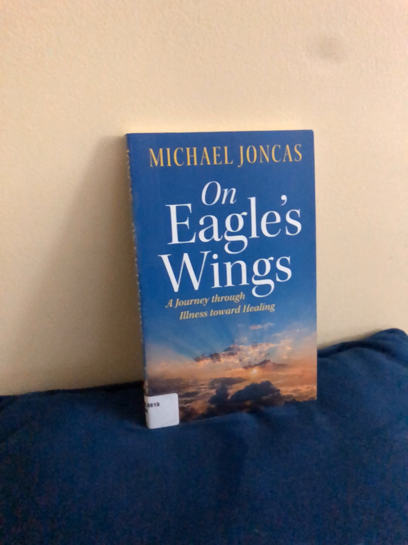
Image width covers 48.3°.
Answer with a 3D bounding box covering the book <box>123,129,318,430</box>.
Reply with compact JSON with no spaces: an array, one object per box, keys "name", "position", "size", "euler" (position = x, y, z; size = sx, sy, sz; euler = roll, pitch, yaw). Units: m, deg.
[{"name":"book","position":[0.018,0.003,0.340],"size":[0.139,0.210,0.014],"euler":[-5,8,-15]}]
